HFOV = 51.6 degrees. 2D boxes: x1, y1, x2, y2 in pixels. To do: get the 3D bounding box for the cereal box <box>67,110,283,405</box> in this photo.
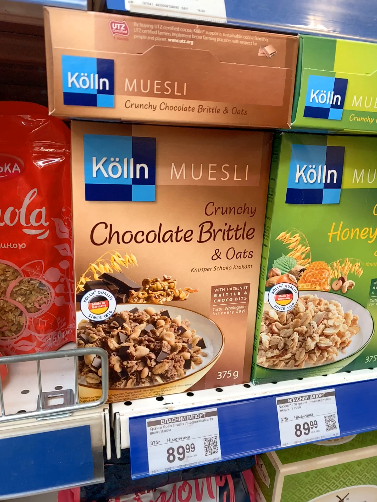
[{"bbox_3d":[-0.017,0.005,0.315,0.150,0.209,0.060,-1,14,-16],"label":"cereal box"}]
